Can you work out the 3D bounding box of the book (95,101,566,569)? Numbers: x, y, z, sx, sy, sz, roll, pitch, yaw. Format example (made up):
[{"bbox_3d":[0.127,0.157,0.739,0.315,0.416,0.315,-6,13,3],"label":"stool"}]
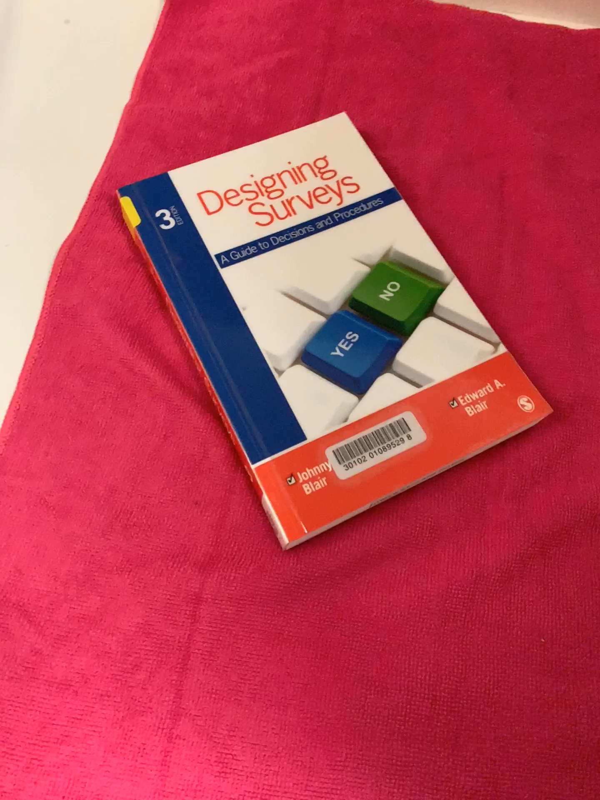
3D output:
[{"bbox_3d":[0.009,-0.053,0.338,0.160,0.026,0.231,-25,71,-14],"label":"book"}]
